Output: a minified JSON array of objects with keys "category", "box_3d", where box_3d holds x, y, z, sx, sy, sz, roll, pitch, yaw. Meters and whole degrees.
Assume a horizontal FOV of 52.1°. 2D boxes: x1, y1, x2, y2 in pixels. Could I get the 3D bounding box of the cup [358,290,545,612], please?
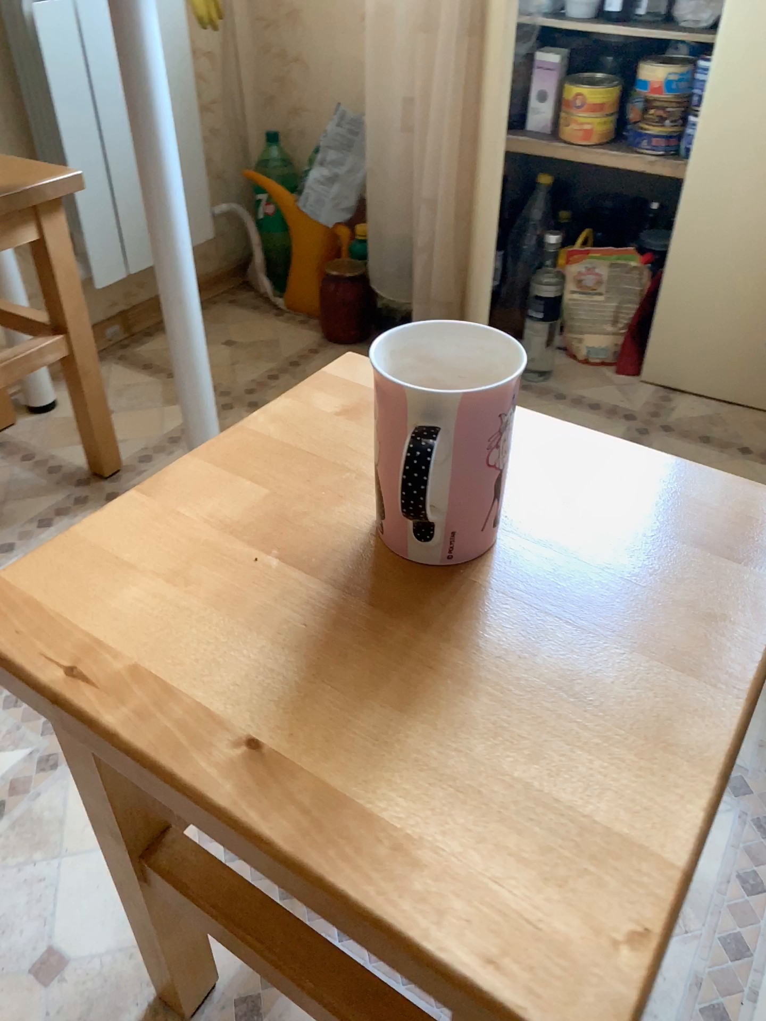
[{"category":"cup","box_3d":[0.035,-0.033,0.388,0.074,0.107,0.114,6,37,7]}]
